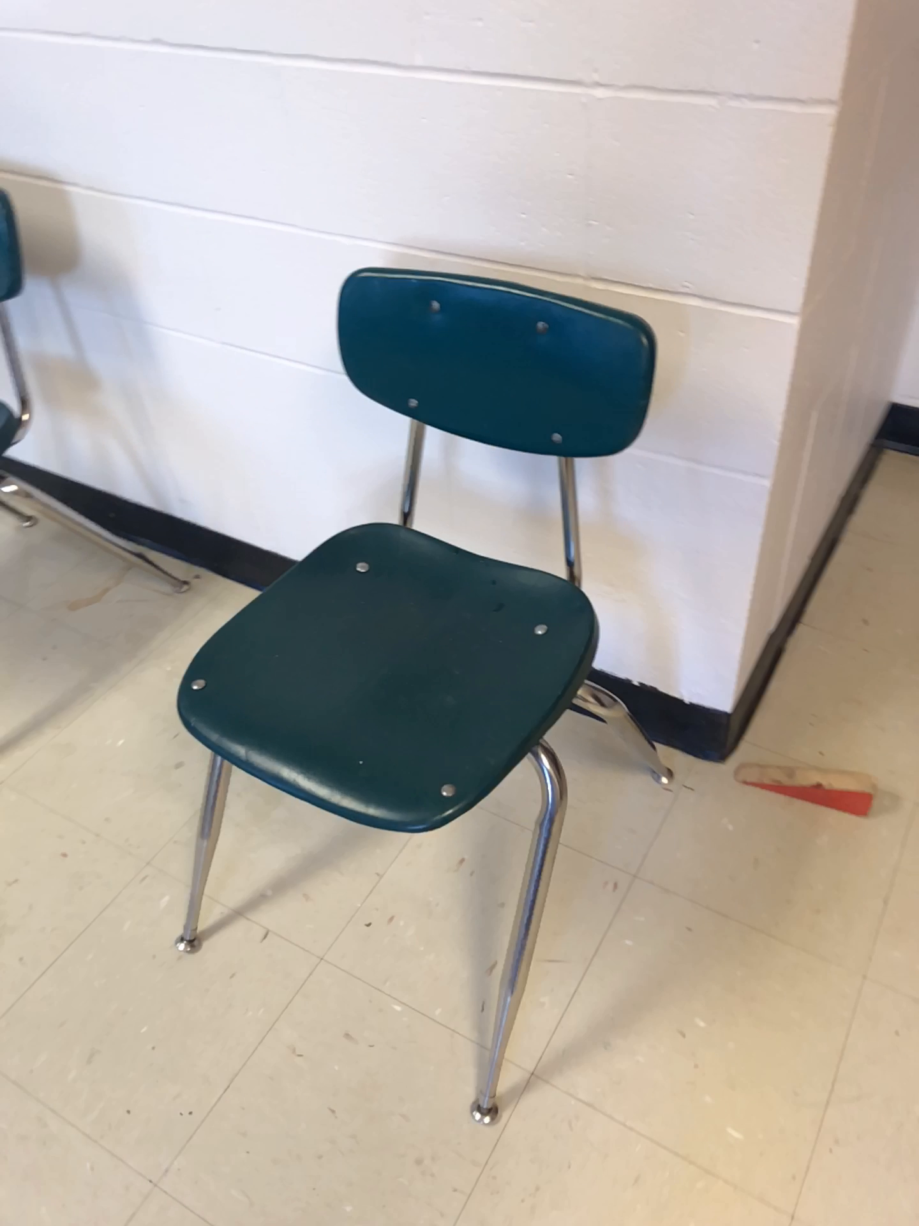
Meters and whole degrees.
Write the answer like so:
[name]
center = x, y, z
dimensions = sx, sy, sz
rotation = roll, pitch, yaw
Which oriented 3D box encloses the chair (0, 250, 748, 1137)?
[chair]
center = -0.038, 0.062, 1.155
dimensions = 0.481, 0.695, 0.593
rotation = 18, 45, 25
